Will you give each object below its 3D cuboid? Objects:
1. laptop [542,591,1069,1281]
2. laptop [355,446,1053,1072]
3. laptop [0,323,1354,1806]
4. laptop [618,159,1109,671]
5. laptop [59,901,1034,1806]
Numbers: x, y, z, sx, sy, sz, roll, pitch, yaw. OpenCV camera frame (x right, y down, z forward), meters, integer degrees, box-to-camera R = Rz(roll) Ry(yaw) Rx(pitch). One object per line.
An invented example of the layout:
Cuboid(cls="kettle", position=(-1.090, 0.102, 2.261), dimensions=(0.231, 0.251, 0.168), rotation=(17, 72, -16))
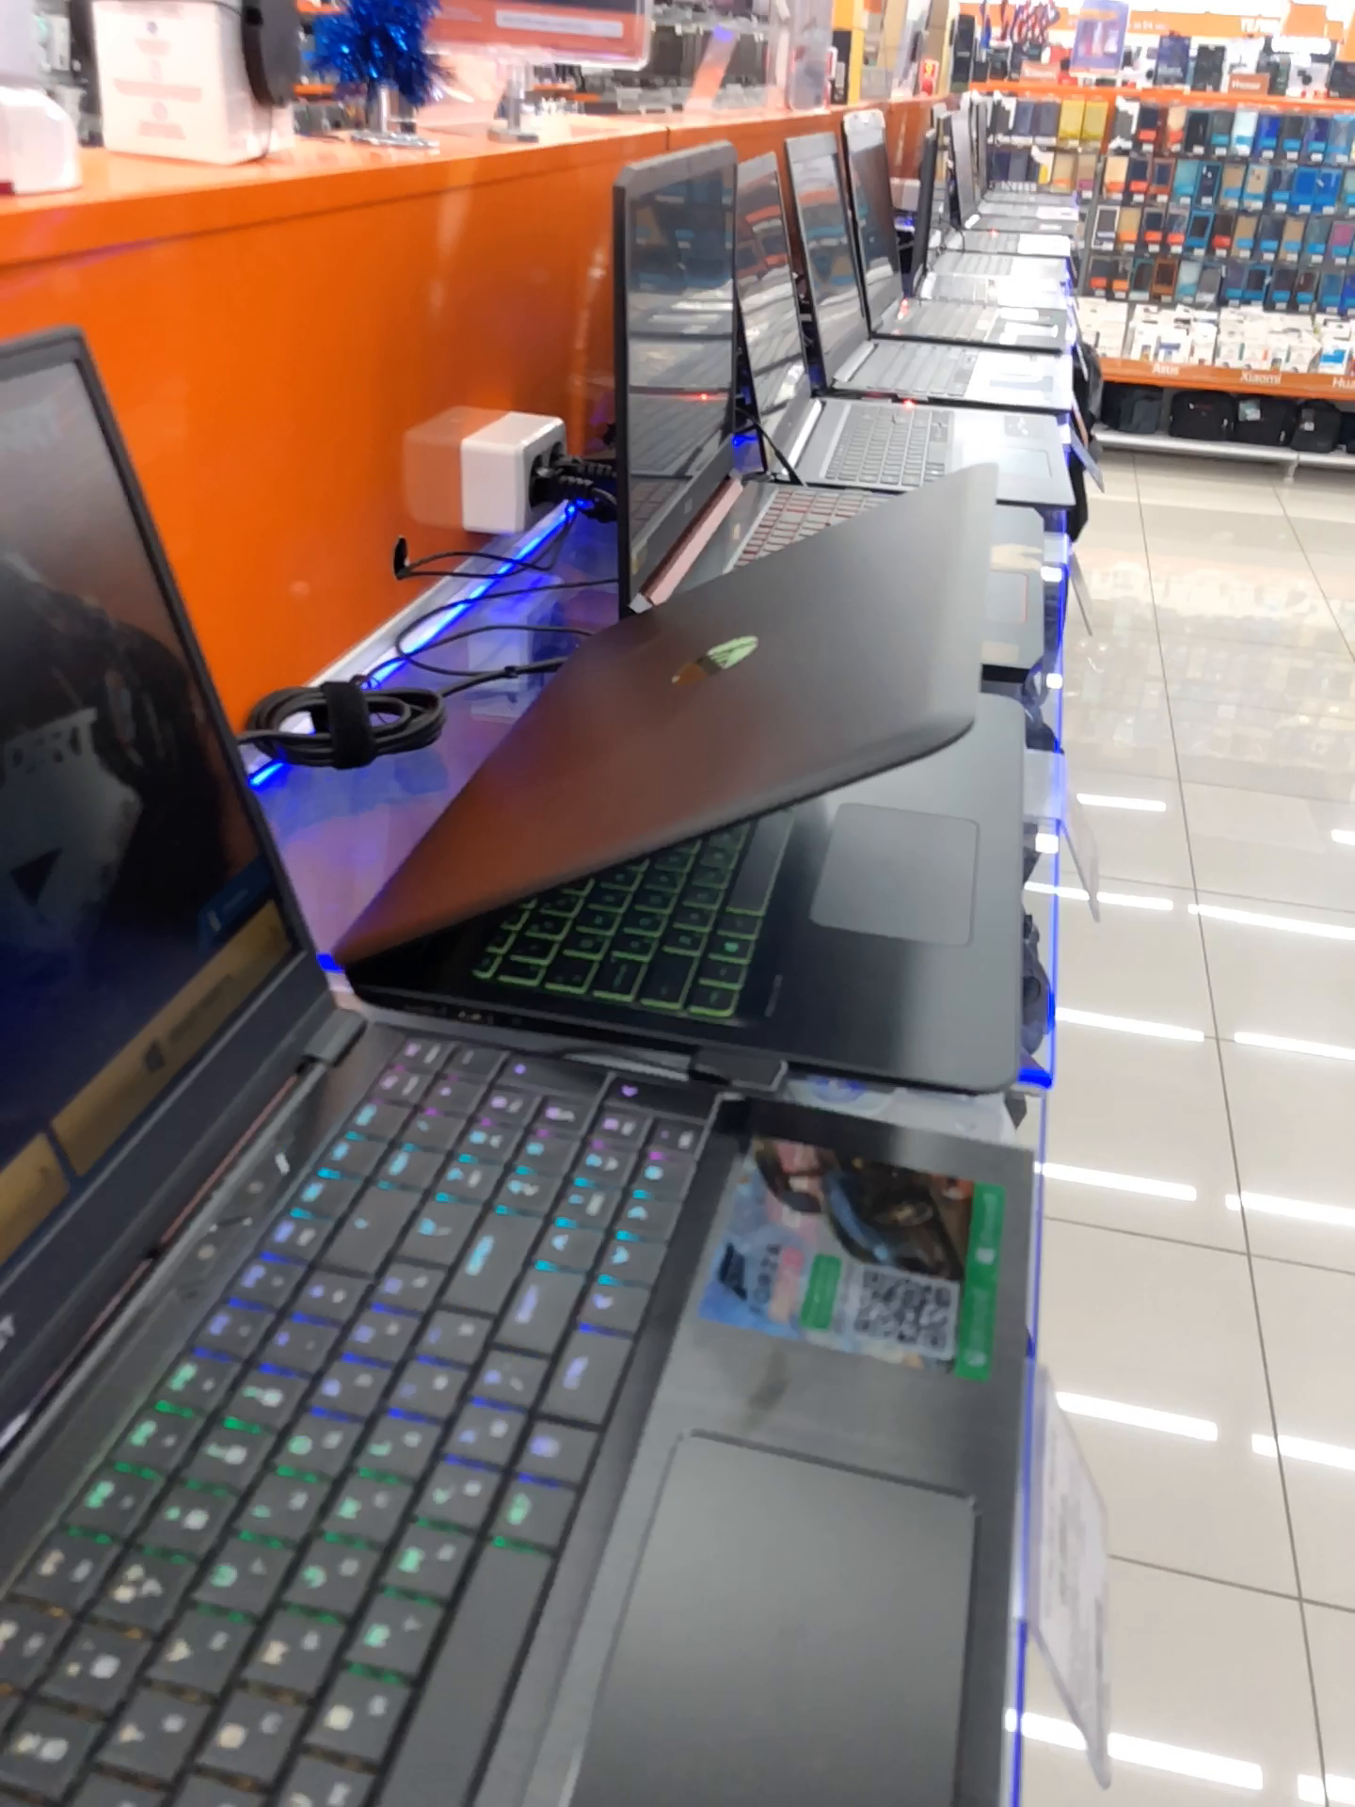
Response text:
Cuboid(cls="laptop", position=(0.098, -0.010, 0.994), dimensions=(0.274, 0.255, 0.399), rotation=(8, 30, 10))
Cuboid(cls="laptop", position=(0.043, -0.096, 0.660), dimensions=(0.227, 0.118, 0.371), rotation=(9, 29, 9))
Cuboid(cls="laptop", position=(-0.065, 0.036, 0.293), dimensions=(0.303, 0.219, 0.342), rotation=(10, 29, 9))
Cuboid(cls="laptop", position=(0.131, -0.358, 1.017), dimensions=(0.253, 0.245, 0.411), rotation=(7, 29, 5))
Cuboid(cls="laptop", position=(-0.004, 0.210, 0.616), dimensions=(0.262, 0.217, 0.413), rotation=(9, 29, 10))
